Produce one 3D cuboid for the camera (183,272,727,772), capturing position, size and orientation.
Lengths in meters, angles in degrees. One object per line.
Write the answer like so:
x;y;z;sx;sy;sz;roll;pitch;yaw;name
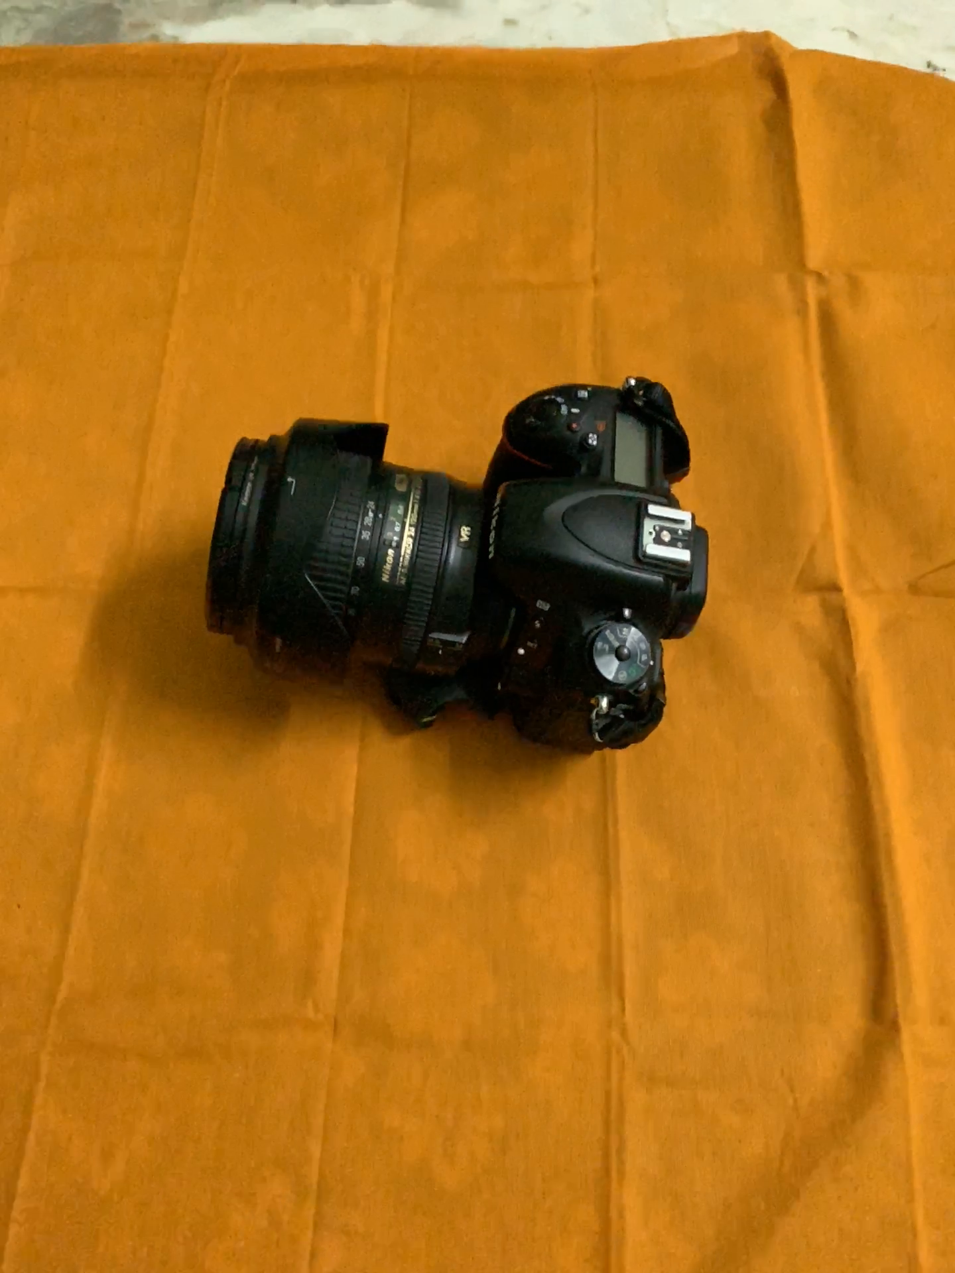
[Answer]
-0.002;-0.040;0.385;0.170;0.110;0.152;3;67;2;camera
